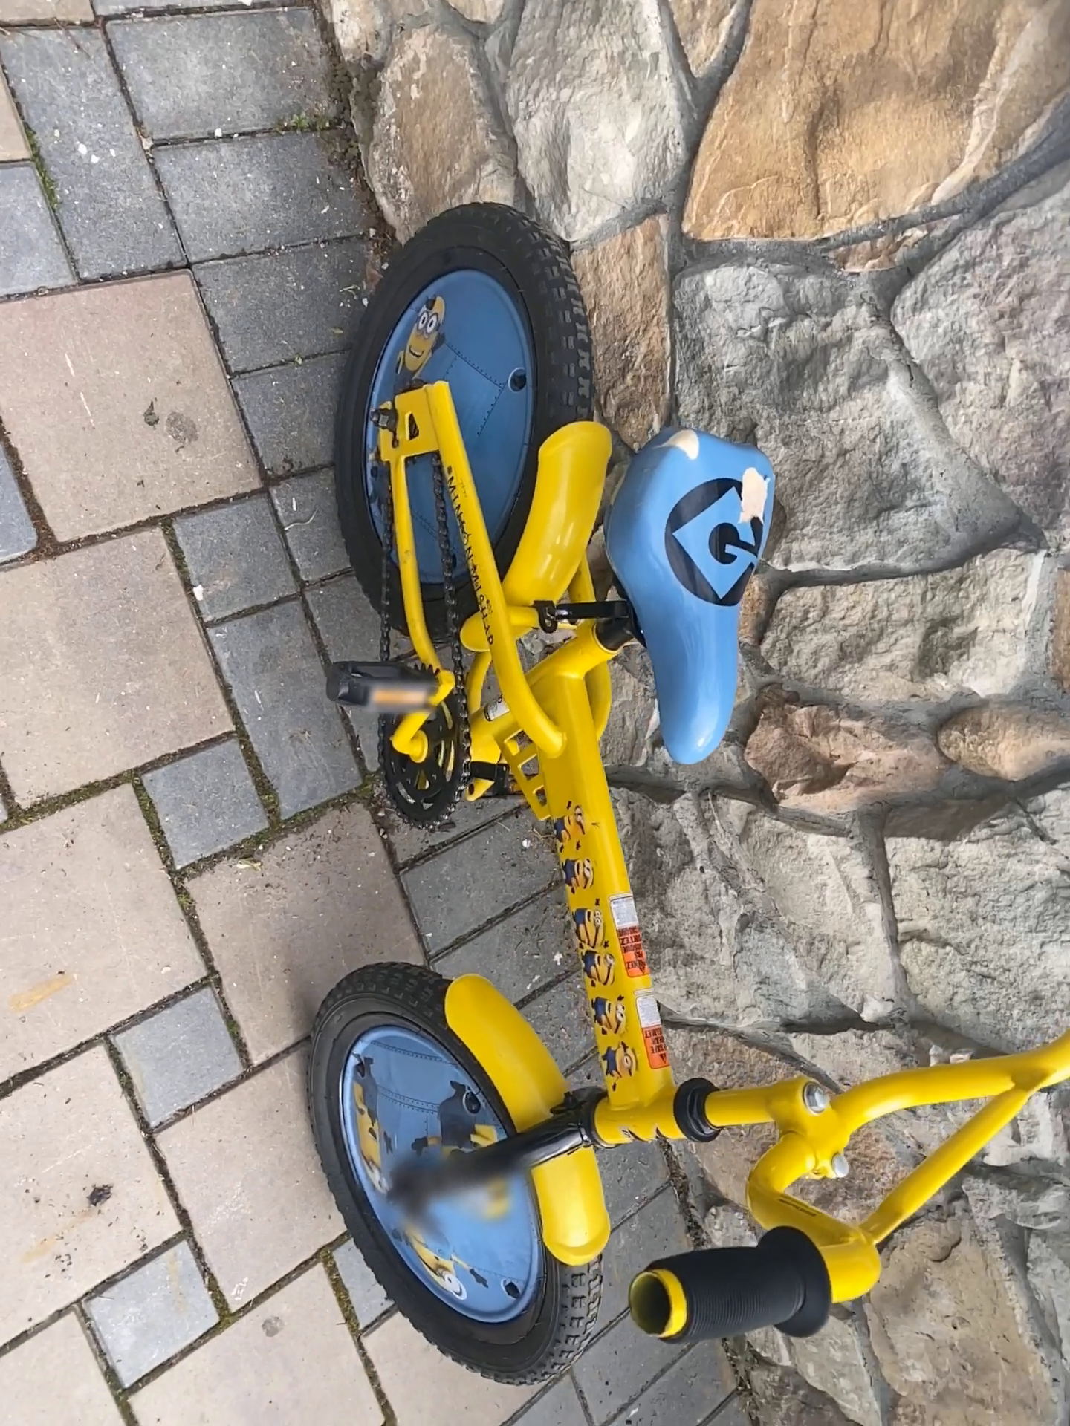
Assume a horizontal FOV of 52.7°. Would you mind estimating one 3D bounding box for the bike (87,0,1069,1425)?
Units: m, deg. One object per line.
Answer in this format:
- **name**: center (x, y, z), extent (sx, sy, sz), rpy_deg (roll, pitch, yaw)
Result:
- **bike**: center (0.090, 0.097, 0.875), extent (0.621, 0.737, 1.085), rpy_deg (-3, 90, -35)
